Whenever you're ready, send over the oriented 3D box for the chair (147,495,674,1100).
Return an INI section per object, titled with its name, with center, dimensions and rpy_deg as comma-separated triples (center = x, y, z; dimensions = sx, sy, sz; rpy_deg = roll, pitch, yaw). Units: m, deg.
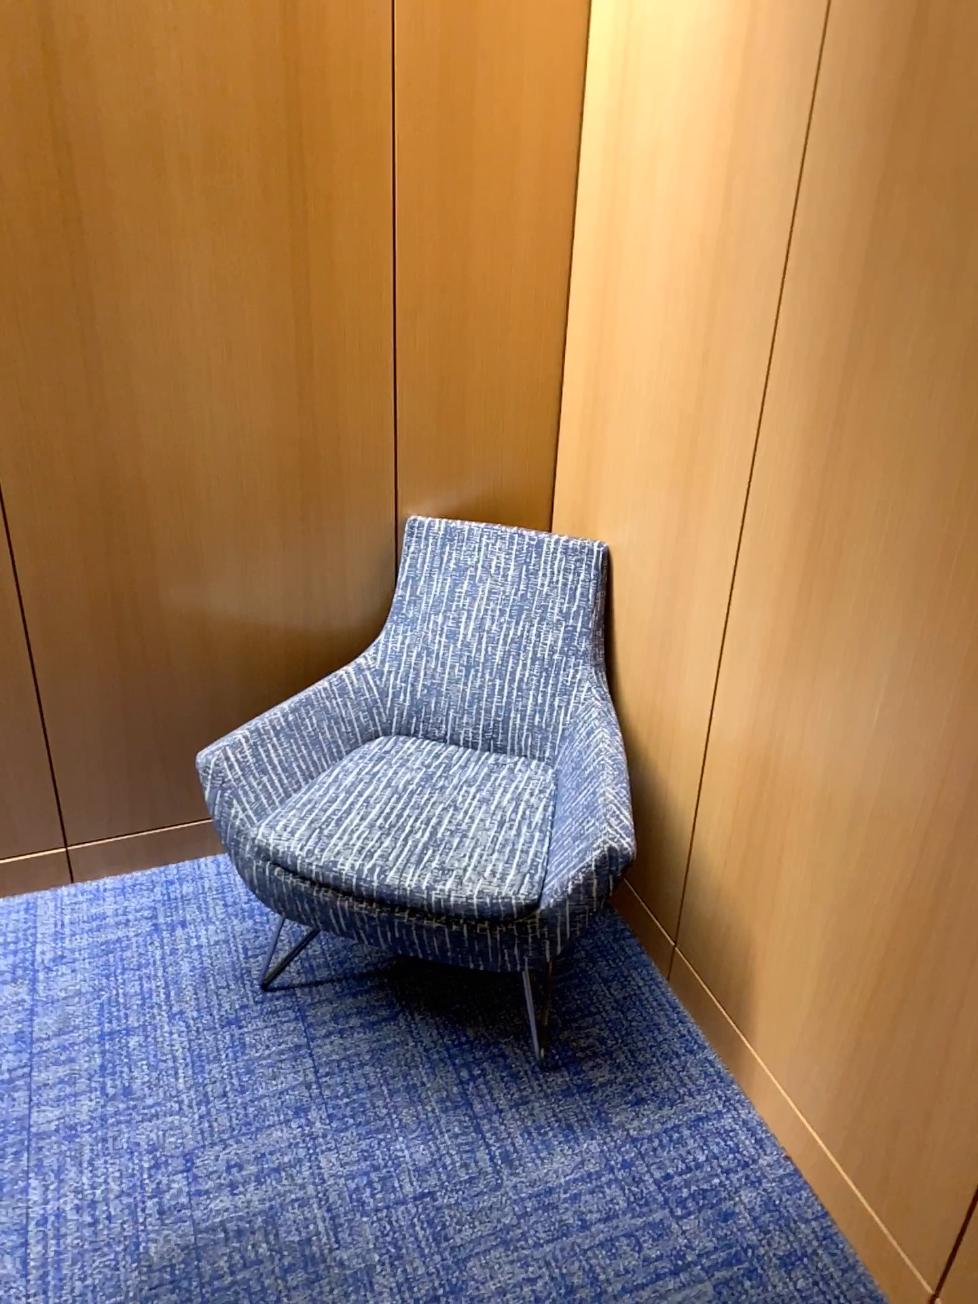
[chair]
center = -0.095, 0.211, 1.804
dimensions = 0.700, 0.746, 0.617
rpy_deg = 9, 28, 13
